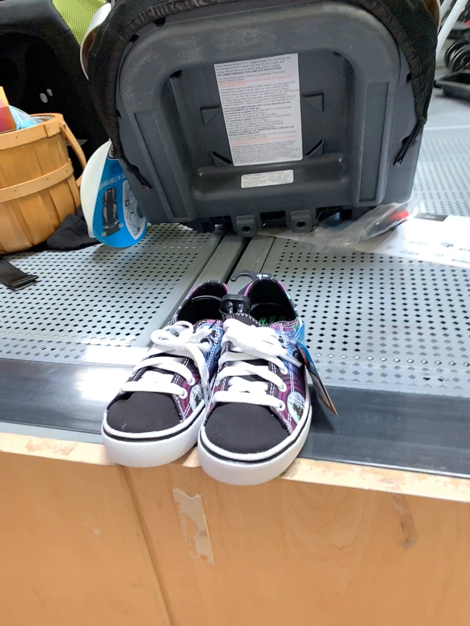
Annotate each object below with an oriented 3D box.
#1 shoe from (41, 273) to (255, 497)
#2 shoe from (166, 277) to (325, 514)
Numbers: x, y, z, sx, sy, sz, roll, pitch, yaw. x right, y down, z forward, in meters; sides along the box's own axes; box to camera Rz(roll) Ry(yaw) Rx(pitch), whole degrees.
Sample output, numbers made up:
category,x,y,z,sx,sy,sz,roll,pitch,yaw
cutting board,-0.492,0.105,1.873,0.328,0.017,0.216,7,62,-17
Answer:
category,x,y,z,sx,sy,sz,roll,pitch,yaw
shoe,-0.059,0.046,0.433,0.091,0.073,0.208,5,33,19
shoe,0.025,0.051,0.414,0.089,0.073,0.213,2,32,14
